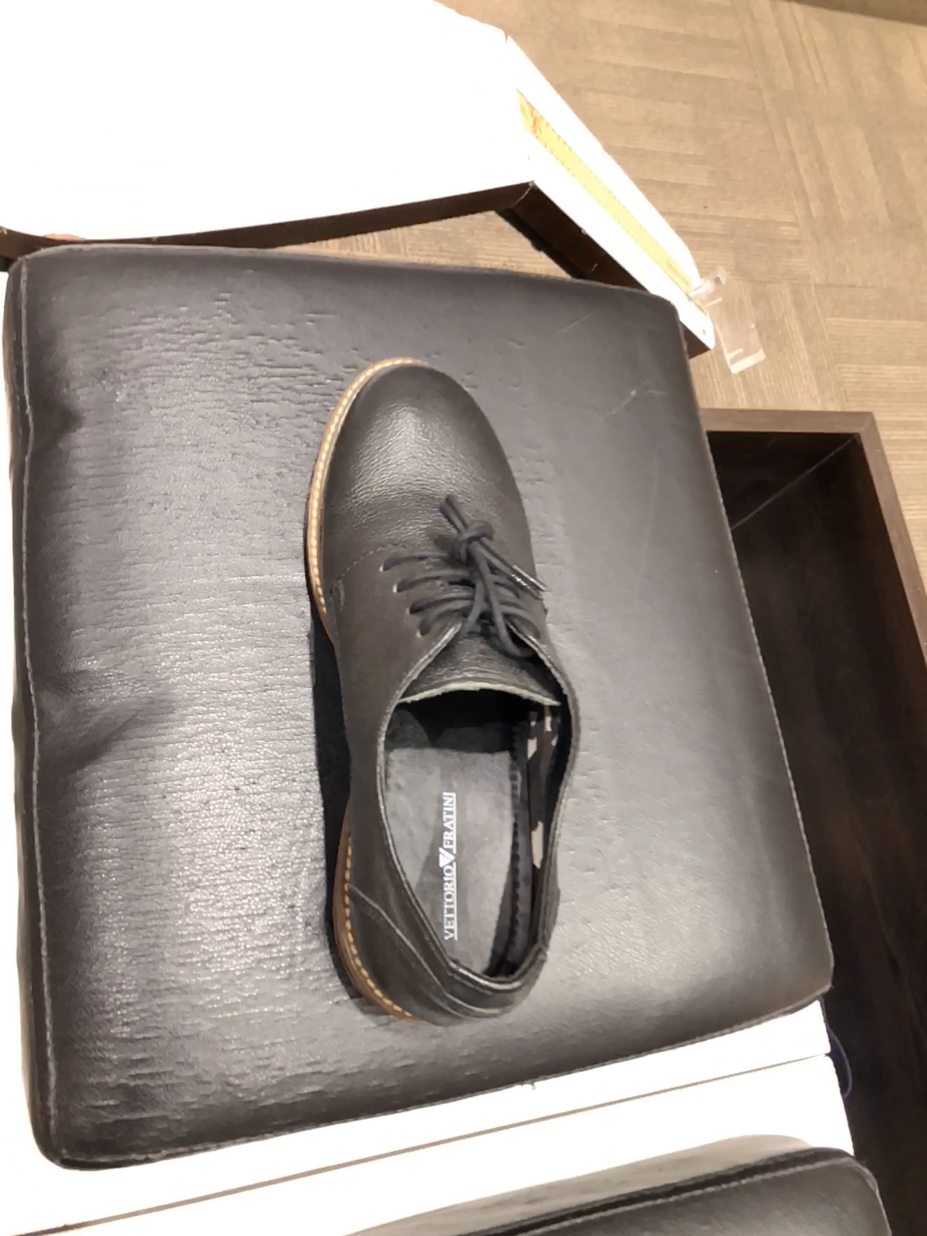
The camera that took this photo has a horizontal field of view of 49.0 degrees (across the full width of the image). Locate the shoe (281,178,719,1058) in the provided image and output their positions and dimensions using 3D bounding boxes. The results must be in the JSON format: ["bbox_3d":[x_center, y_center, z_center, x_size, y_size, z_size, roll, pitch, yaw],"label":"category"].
[{"bbox_3d":[-0.002,-0.003,0.379,0.110,0.100,0.291,1,71,-17],"label":"shoe"}]
